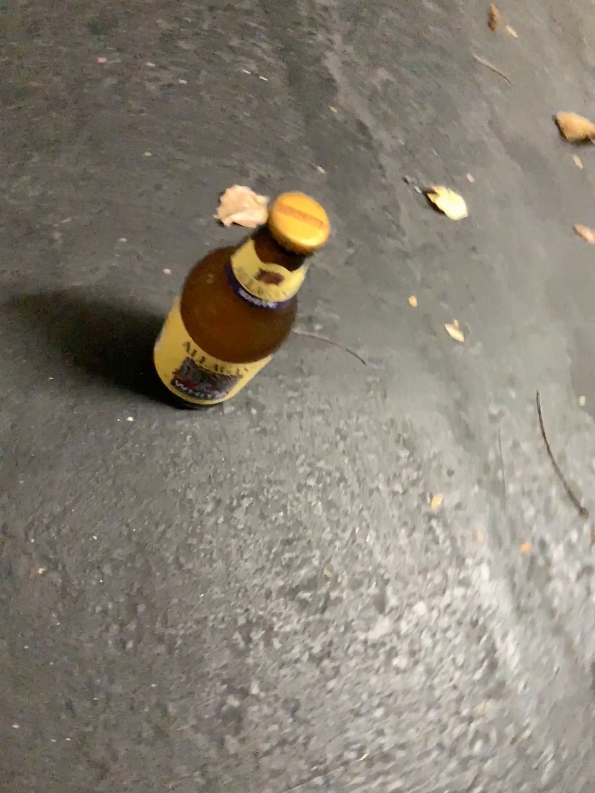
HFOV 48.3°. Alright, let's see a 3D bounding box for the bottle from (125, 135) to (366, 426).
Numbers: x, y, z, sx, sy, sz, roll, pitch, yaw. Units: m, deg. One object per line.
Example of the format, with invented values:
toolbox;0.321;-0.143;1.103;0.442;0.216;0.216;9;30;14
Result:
bottle;-0.040;-0.047;0.372;0.070;0.190;0.070;7;72;-21
